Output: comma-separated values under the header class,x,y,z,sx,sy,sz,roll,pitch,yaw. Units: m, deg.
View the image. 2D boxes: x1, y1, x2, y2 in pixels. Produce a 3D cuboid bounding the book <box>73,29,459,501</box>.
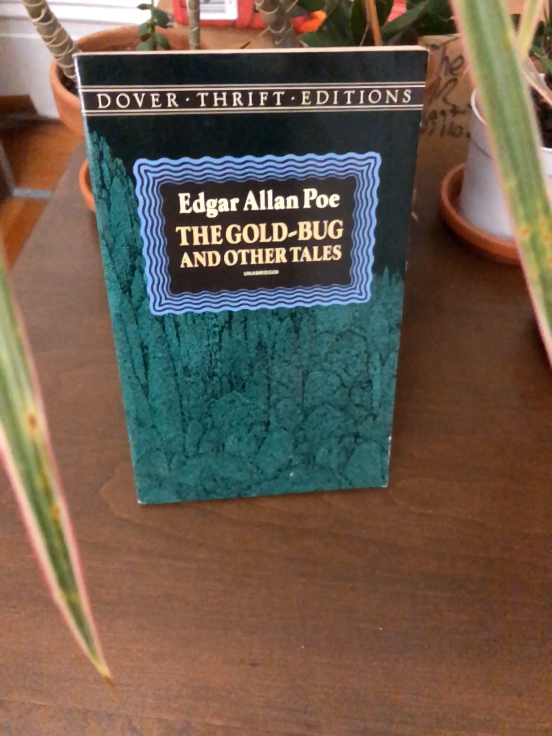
class,x,y,z,sx,sy,sz,roll,pitch,yaw
book,-0.002,-0.034,0.280,0.140,0.209,0.020,-3,28,-5
